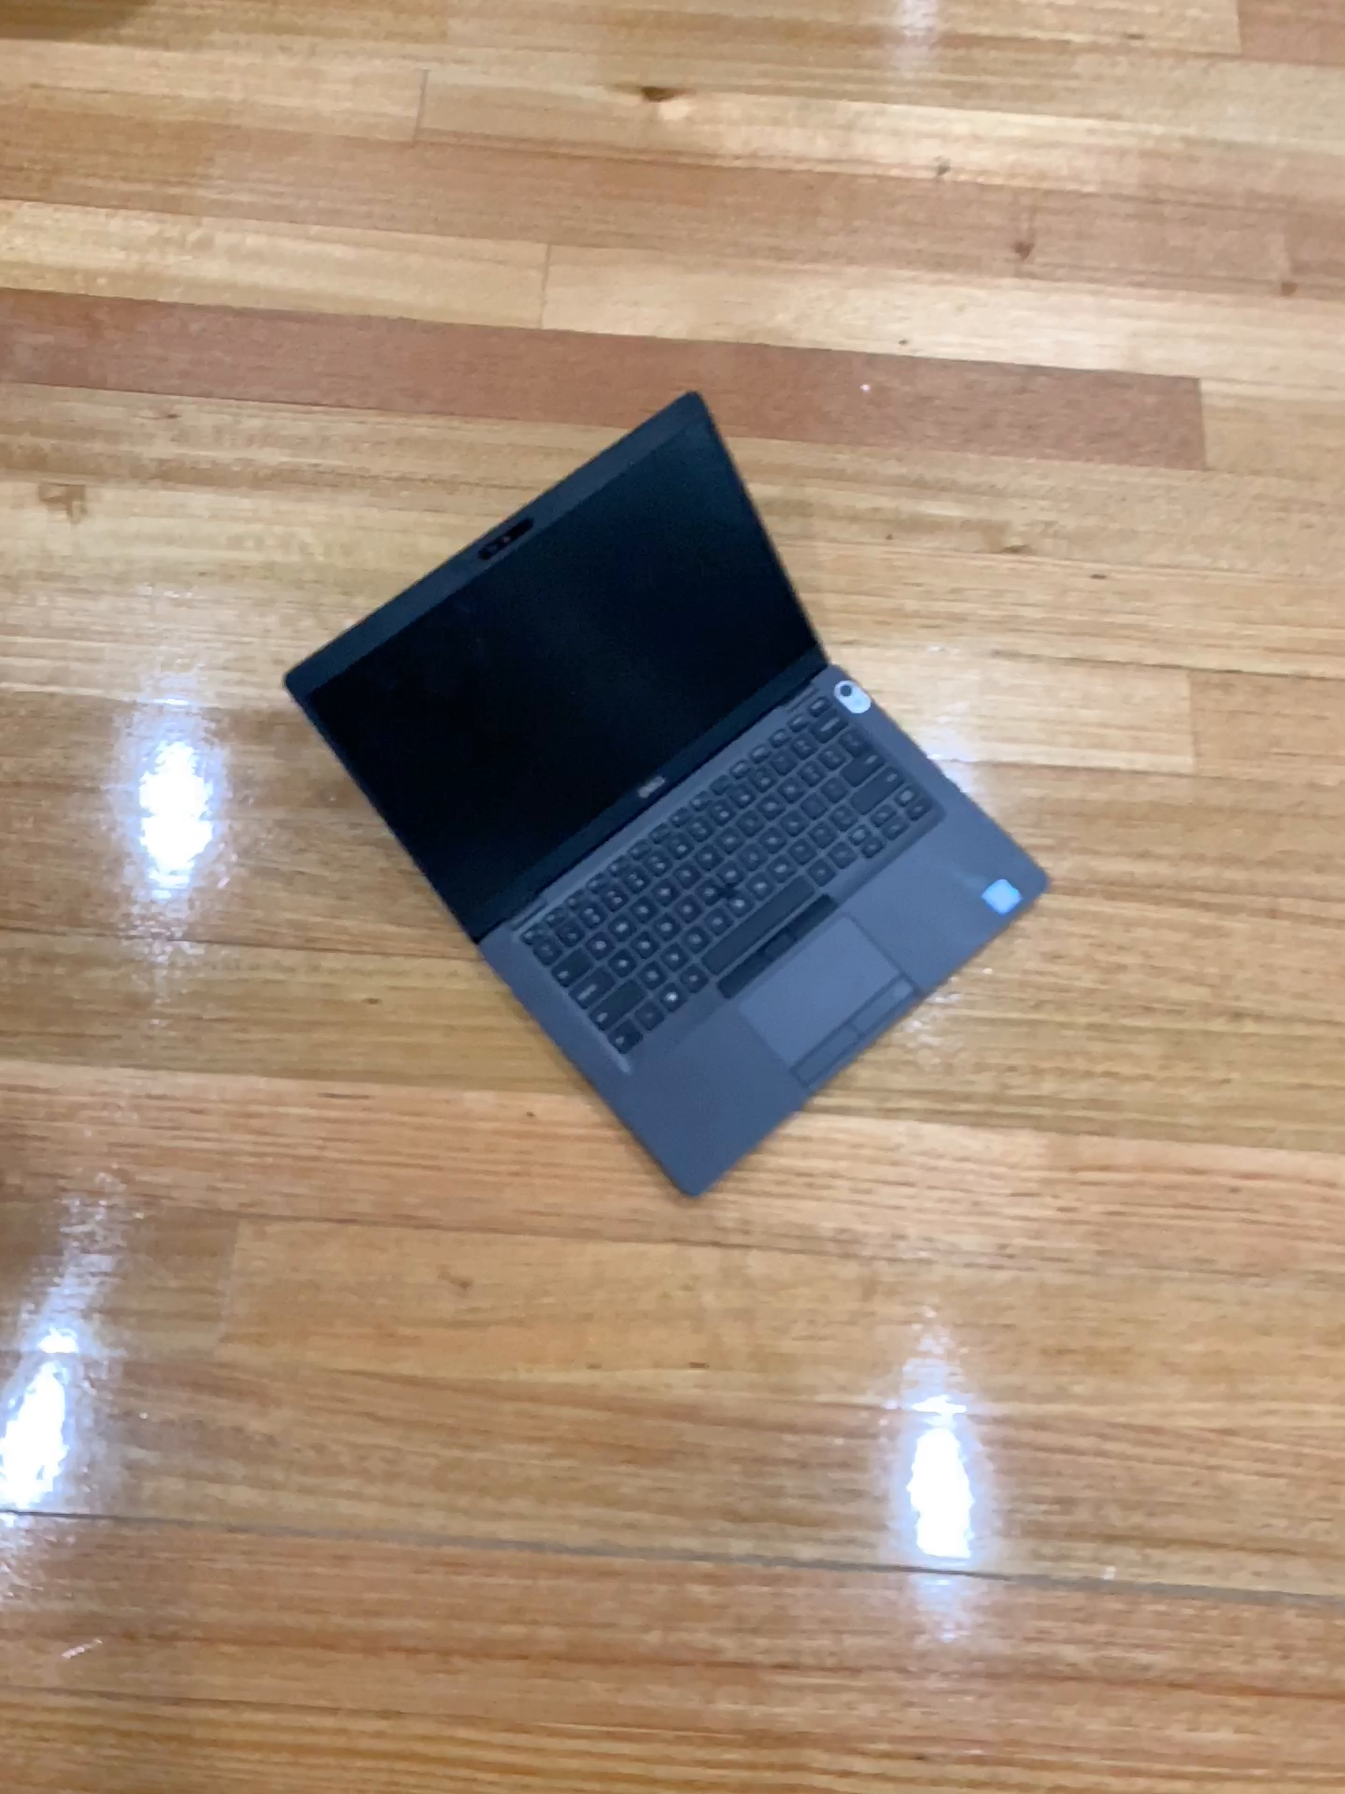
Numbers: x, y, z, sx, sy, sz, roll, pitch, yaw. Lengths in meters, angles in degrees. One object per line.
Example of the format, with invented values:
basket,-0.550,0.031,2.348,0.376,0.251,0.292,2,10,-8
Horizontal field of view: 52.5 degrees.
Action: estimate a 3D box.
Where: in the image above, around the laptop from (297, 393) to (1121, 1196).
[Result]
laptop,0.018,-0.070,0.861,0.320,0.134,0.372,-38,77,-14
